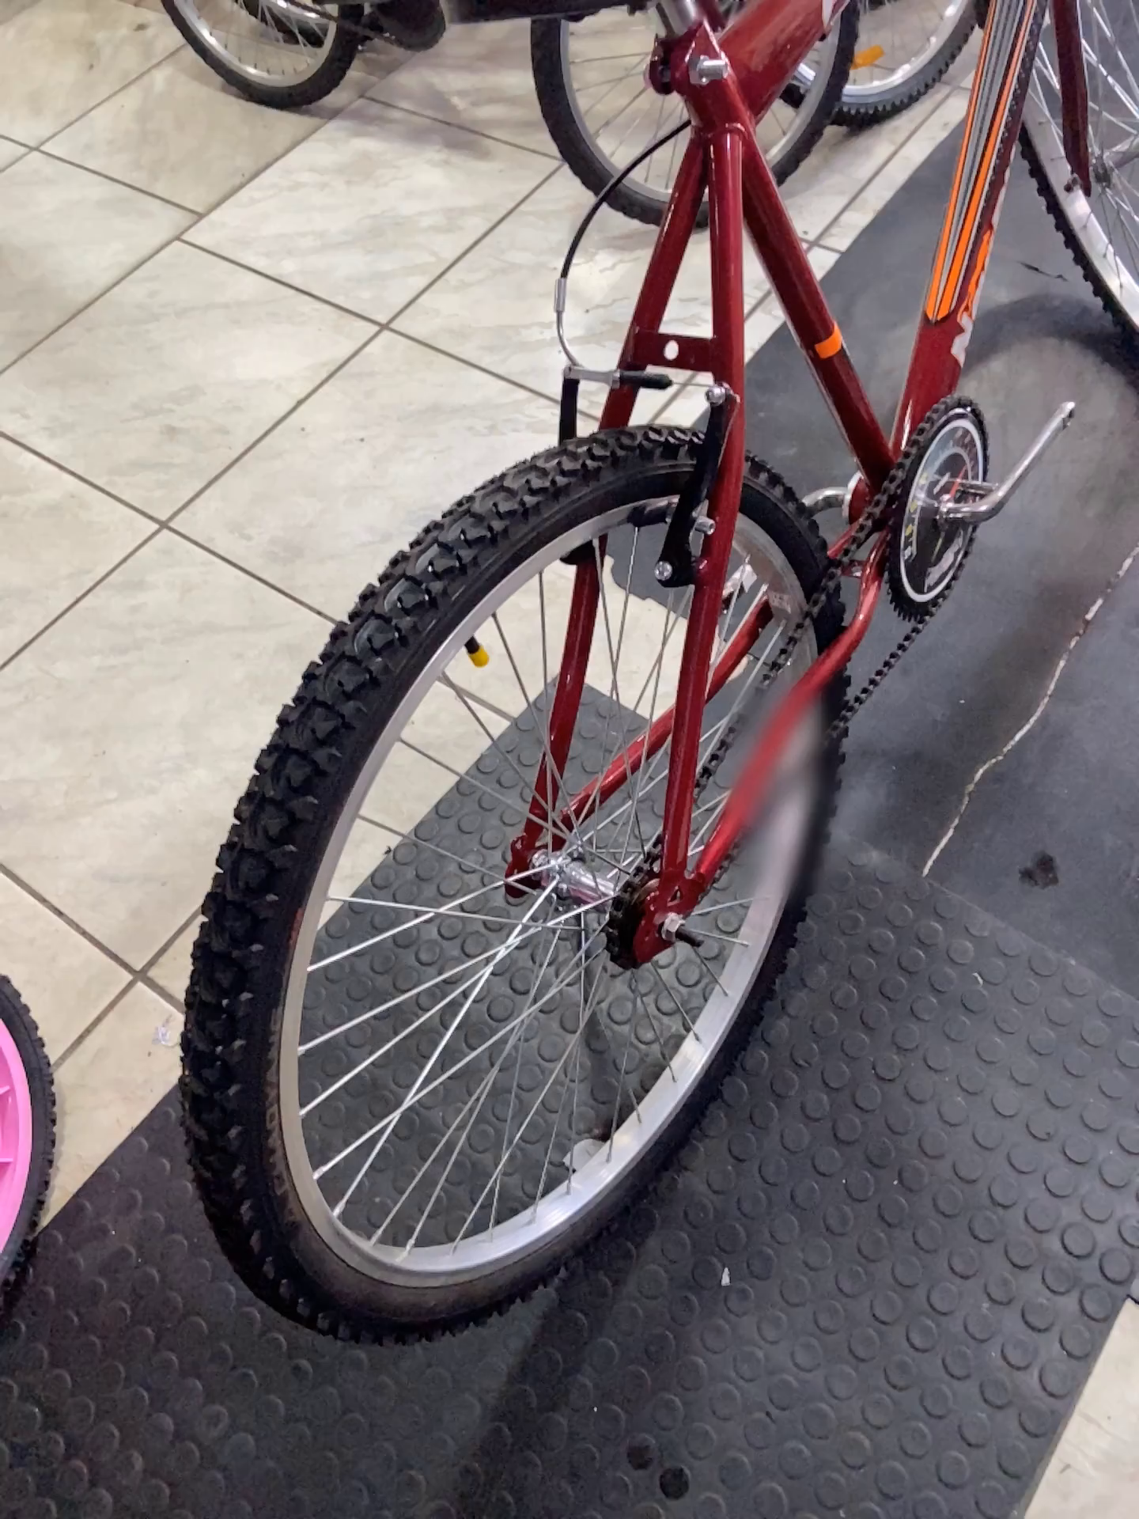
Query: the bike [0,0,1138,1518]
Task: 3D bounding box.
[{"bbox_3d":[0.114,-0.451,0.839,0.566,1.030,1.586,19,65,19],"label":"bike"}]
